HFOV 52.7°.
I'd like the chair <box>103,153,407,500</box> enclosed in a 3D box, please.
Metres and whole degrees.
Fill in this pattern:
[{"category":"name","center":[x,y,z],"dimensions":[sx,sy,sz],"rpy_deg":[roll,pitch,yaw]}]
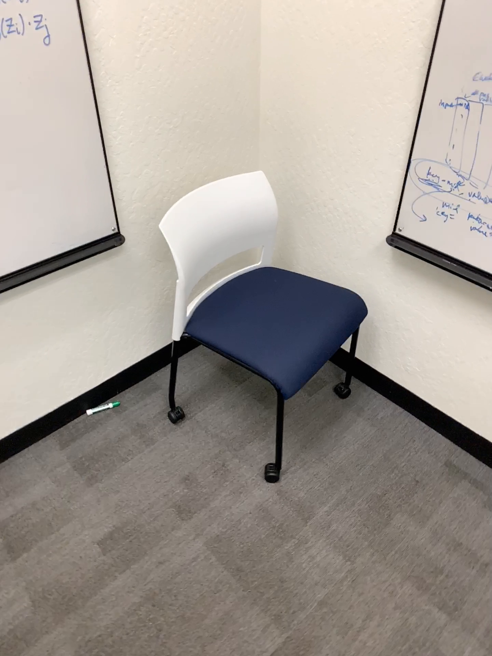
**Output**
[{"category":"chair","center":[0.046,-0.040,1.792],"dimensions":[0.642,0.835,0.702],"rpy_deg":[27,47,28]}]
